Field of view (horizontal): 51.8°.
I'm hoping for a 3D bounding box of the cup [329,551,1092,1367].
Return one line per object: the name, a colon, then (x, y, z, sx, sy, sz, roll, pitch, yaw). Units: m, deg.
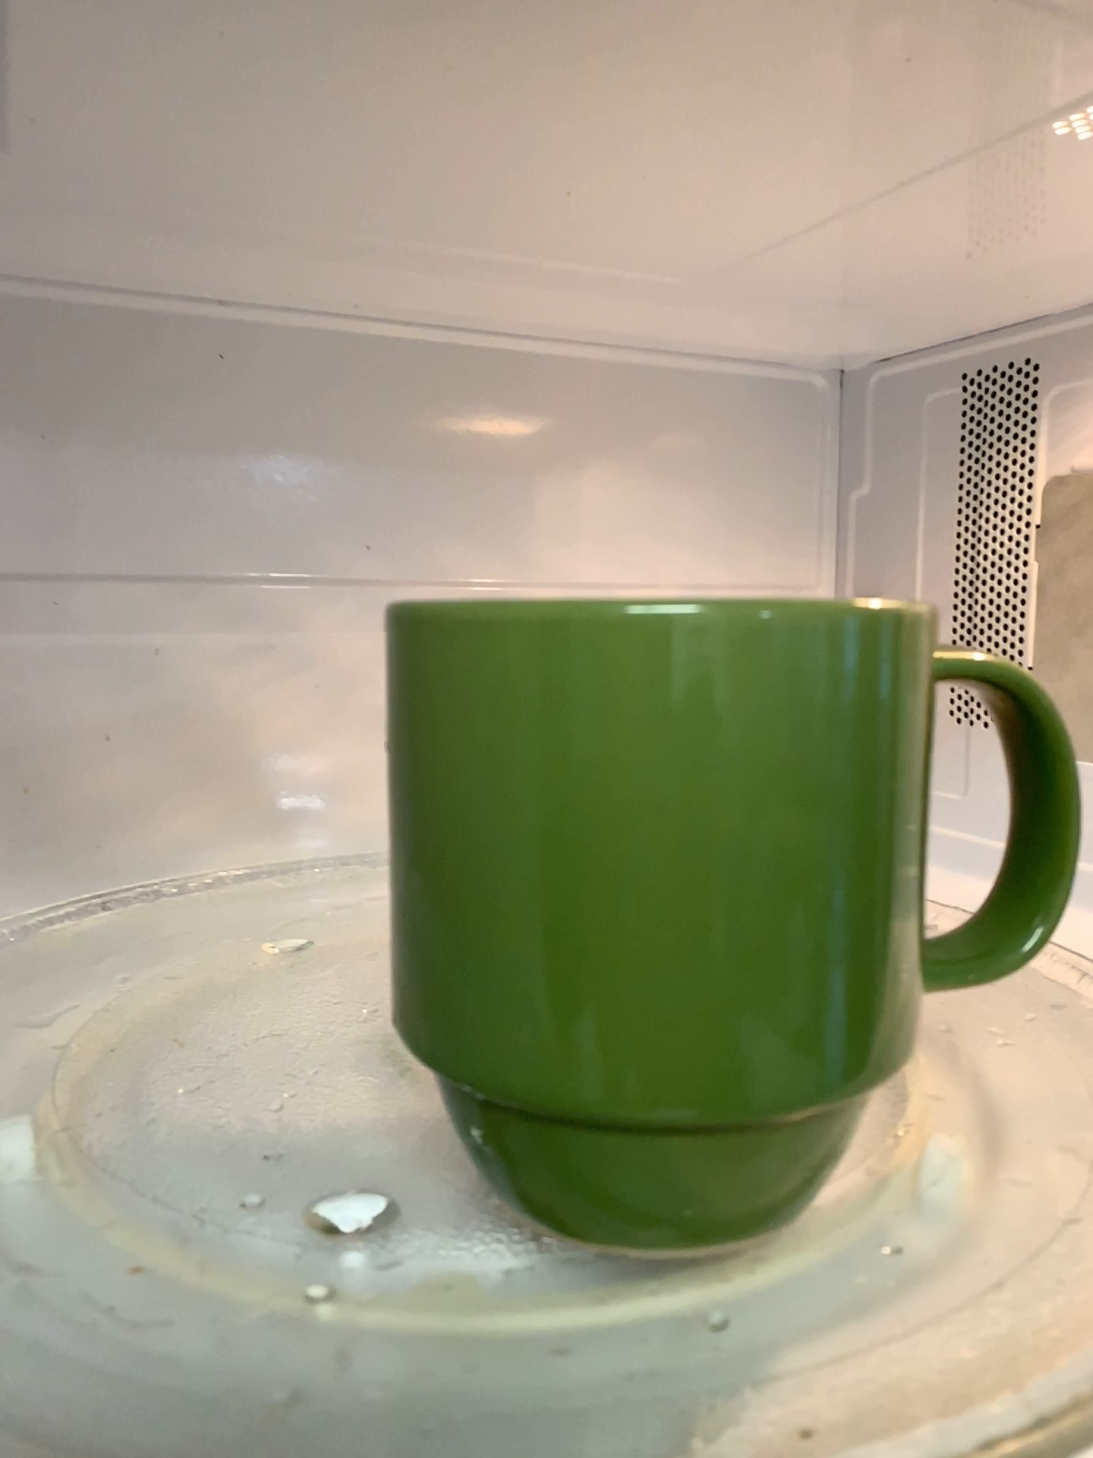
cup: (0.035, 0.021, 0.176, 0.130, 0.090, 0.080, -1, 6, -15)
